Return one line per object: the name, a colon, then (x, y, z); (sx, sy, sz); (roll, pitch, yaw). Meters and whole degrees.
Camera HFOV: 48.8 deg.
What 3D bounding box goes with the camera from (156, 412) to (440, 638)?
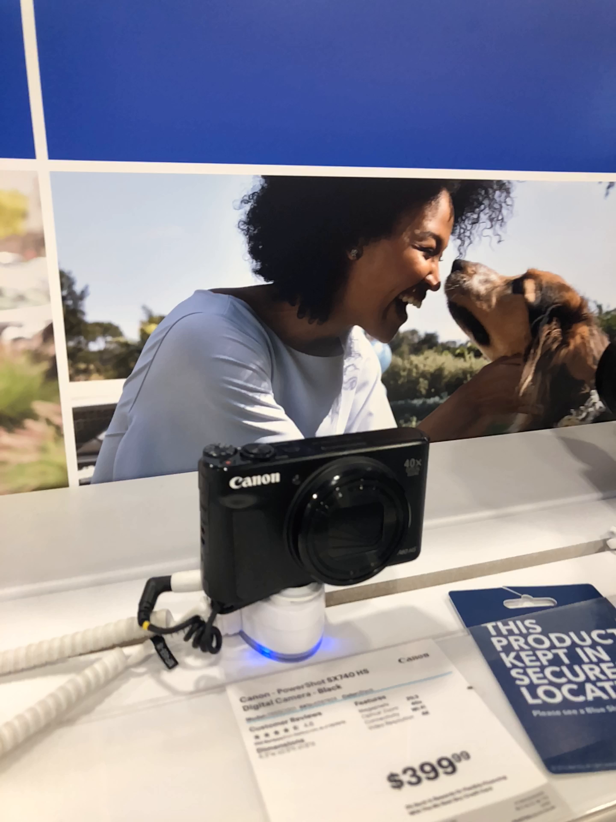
camera: (-0.003, 0.047, 0.311); (0.120, 0.070, 0.040); (-8, 19, -24)
